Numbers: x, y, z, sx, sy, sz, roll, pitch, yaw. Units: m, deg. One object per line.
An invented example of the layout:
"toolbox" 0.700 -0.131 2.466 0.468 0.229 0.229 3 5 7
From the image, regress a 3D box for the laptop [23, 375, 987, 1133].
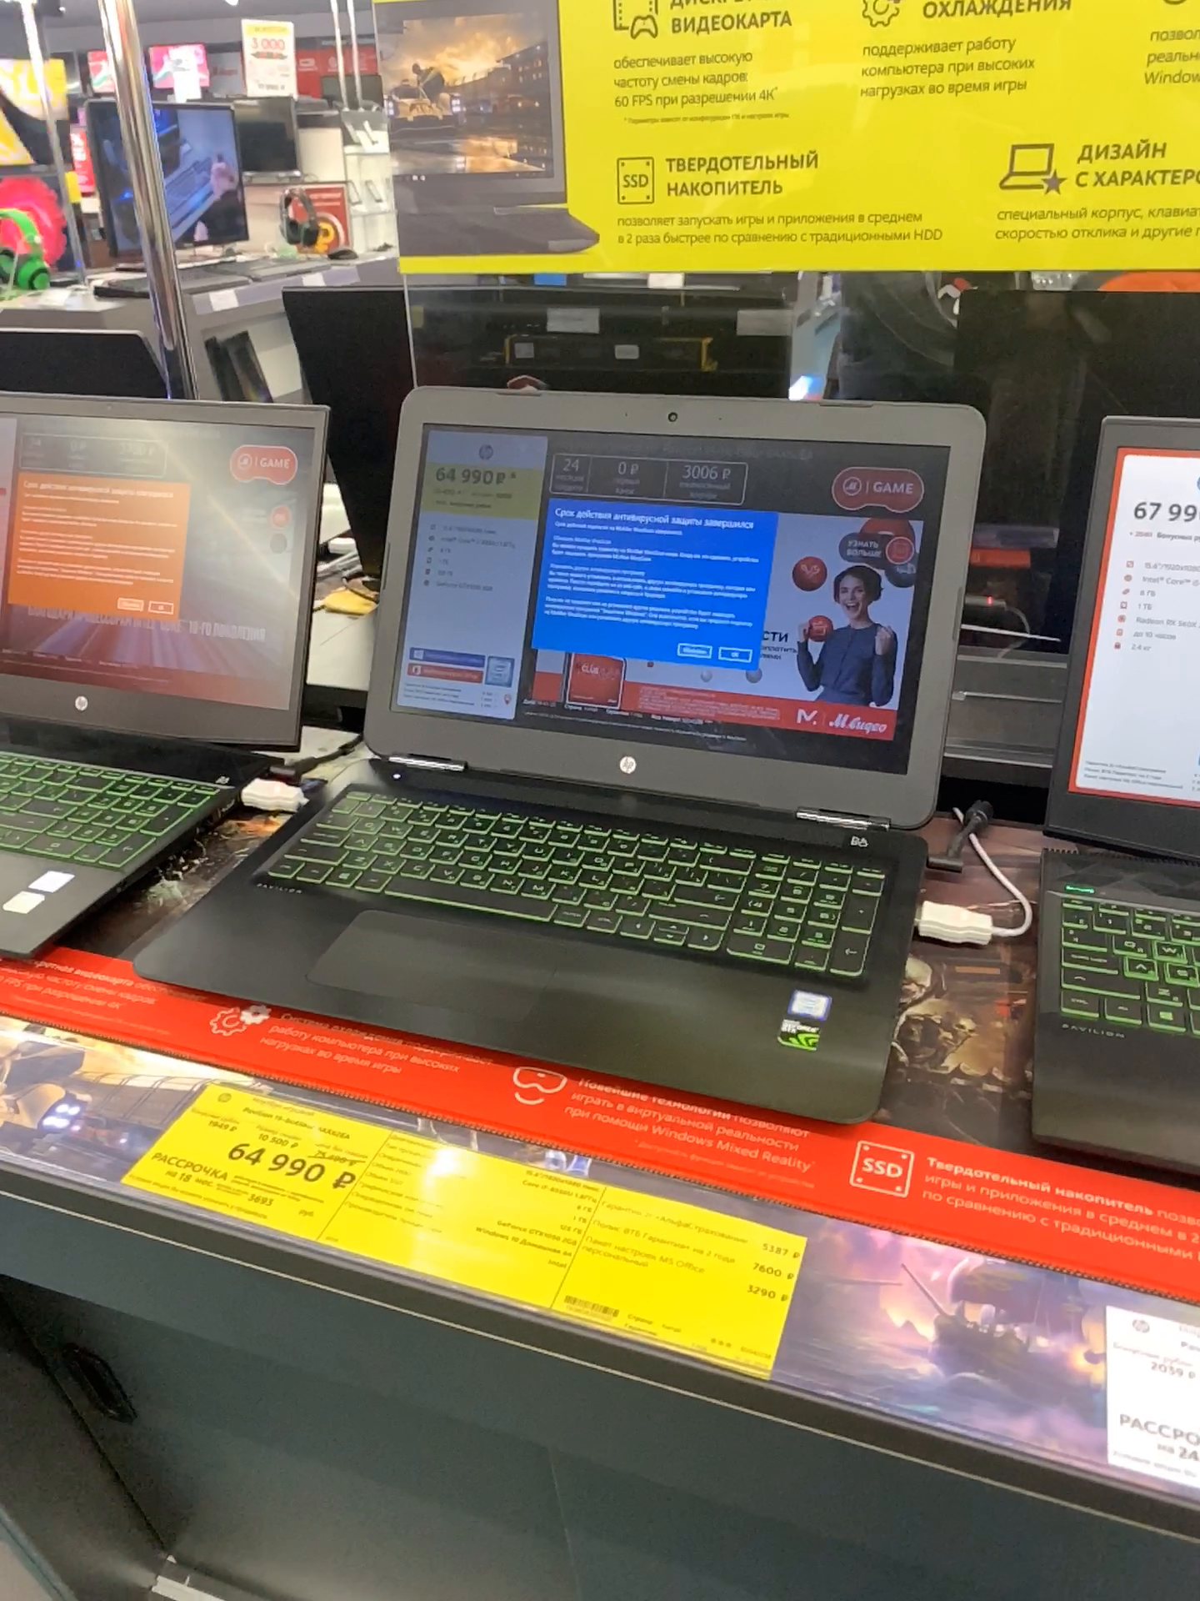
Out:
"laptop" -0.008 -0.076 0.683 0.384 0.223 0.381 8 30 17
